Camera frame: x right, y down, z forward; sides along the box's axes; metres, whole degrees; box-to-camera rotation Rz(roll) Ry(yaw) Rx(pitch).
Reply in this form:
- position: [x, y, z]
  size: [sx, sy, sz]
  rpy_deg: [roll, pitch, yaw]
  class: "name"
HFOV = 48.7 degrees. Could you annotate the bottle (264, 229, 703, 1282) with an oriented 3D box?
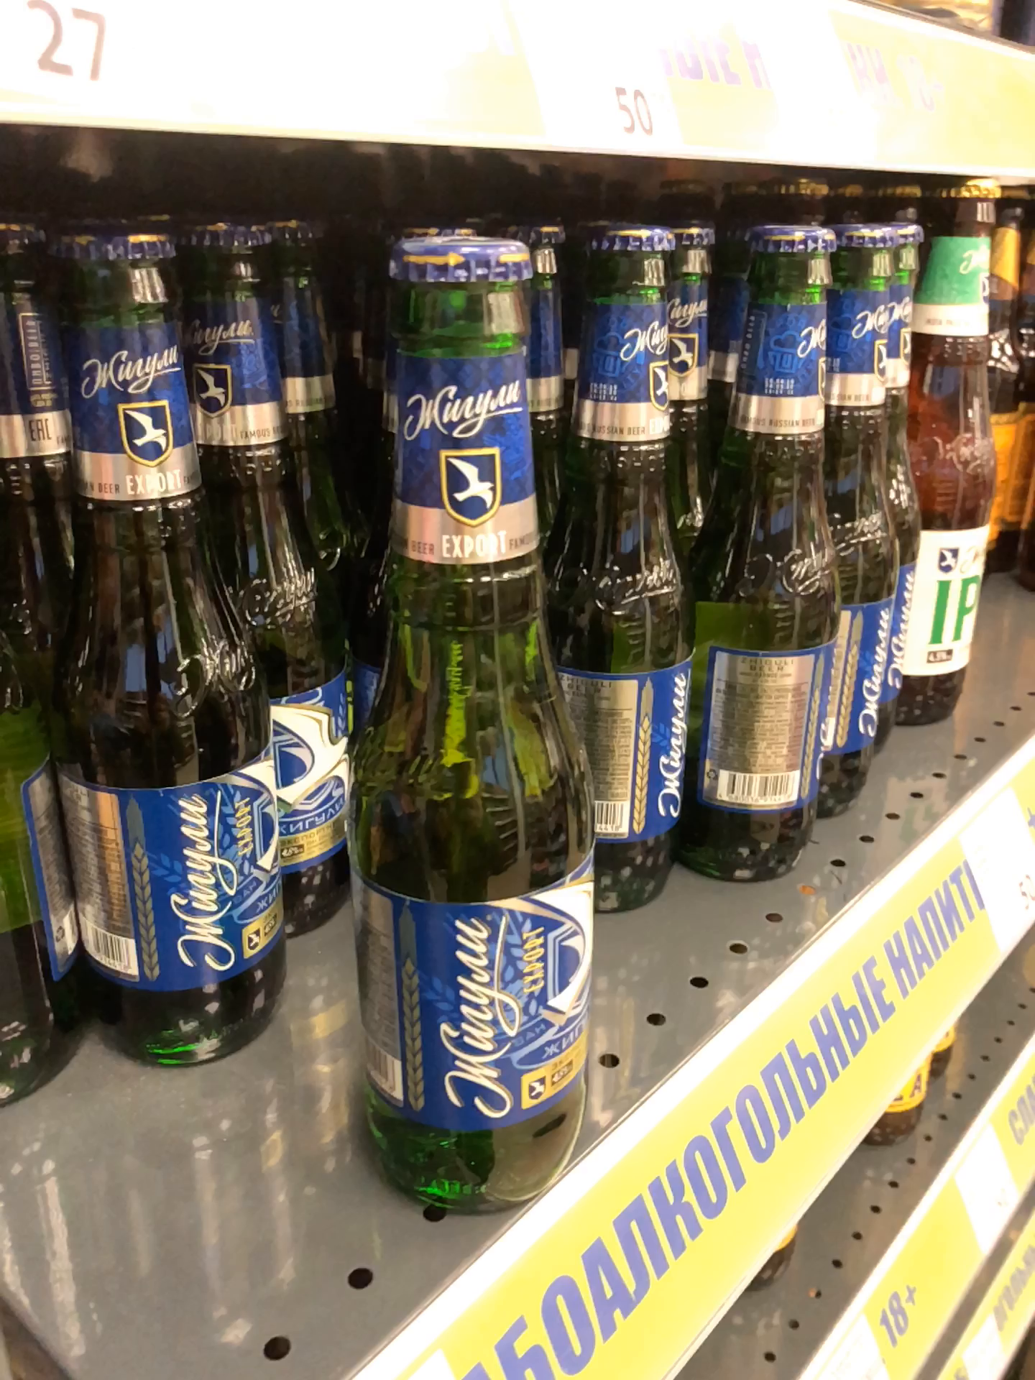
- position: [-0.010, 0.019, 0.276]
  size: [0.063, 0.239, 0.063]
  rpy_deg: [2, 23, -1]
  class: "bottle"
